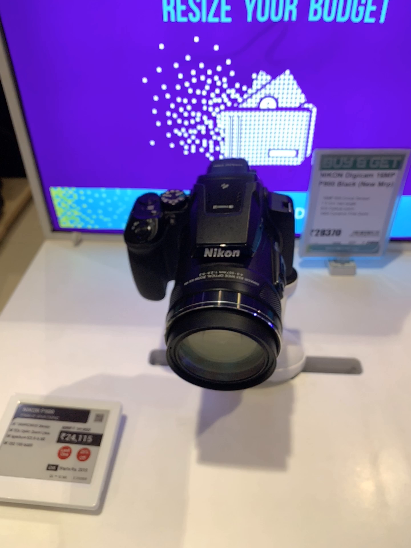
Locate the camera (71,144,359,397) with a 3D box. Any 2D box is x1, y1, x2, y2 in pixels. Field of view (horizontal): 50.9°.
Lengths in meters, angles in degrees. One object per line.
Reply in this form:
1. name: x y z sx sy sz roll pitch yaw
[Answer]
1. camera: 0.009 -0.014 0.300 0.140 0.090 0.161 2 39 3
